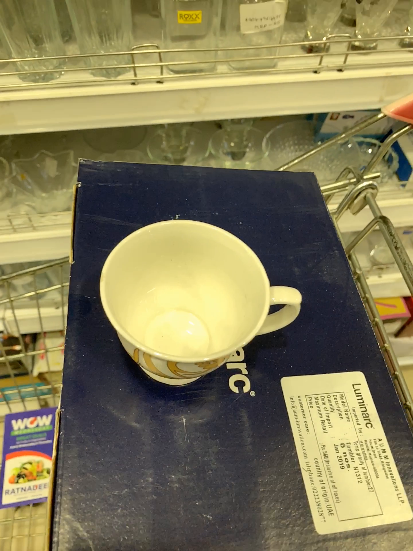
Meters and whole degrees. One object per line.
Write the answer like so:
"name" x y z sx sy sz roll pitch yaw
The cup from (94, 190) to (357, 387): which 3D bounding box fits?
"cup" 0.004 0.004 0.180 0.090 0.040 0.070 0 55 -7
